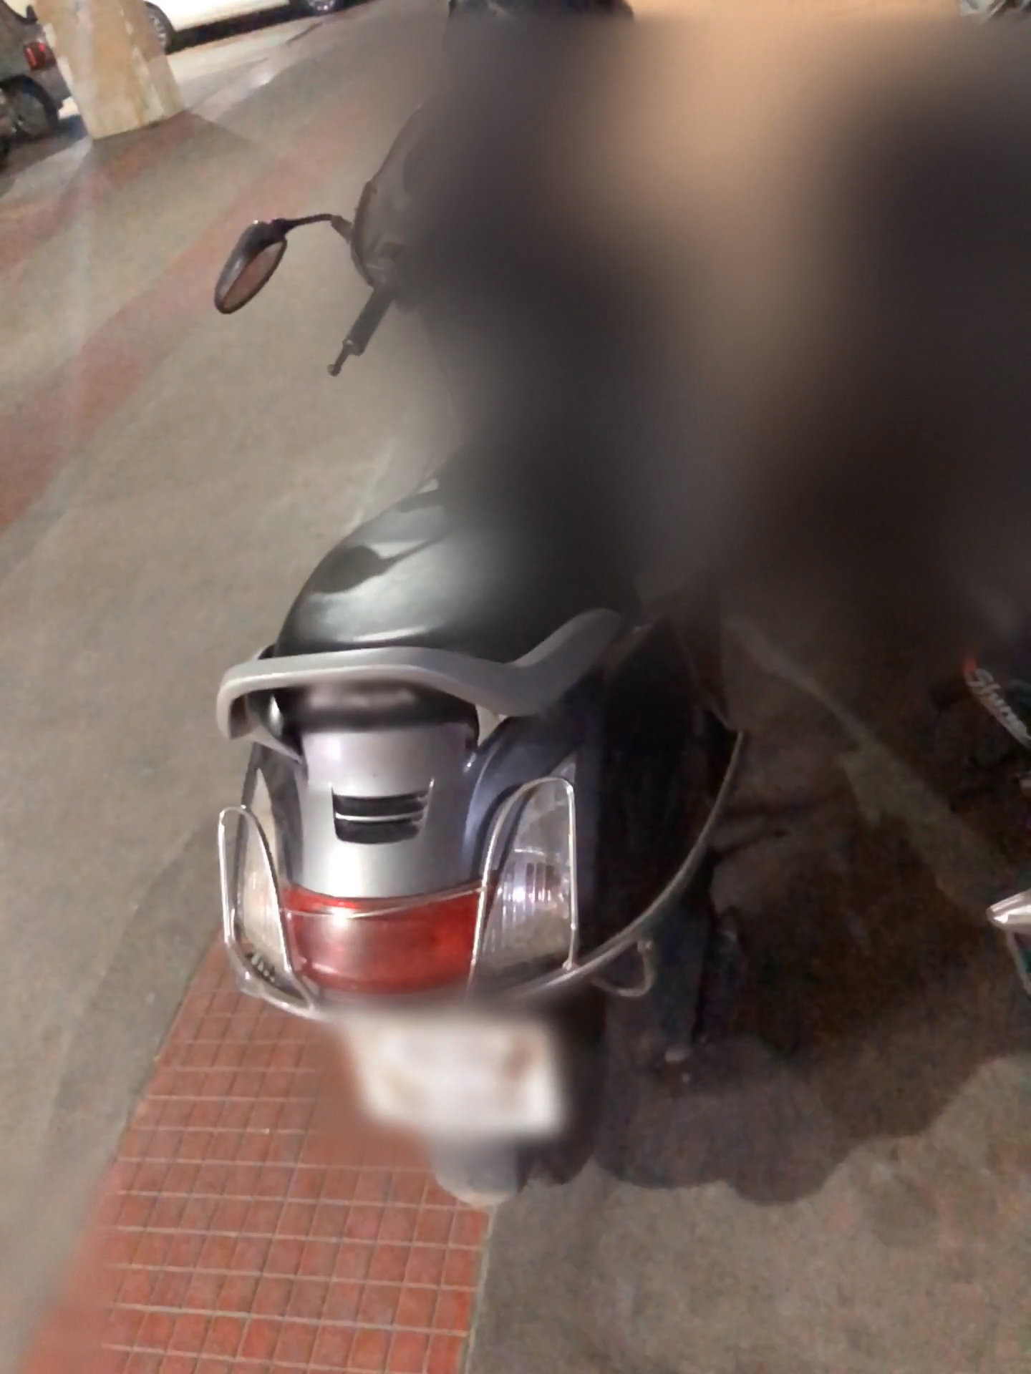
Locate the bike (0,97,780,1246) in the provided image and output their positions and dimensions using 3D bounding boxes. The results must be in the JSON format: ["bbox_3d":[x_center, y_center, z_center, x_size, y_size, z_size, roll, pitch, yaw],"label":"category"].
[{"bbox_3d":[-0.066,-0.163,1.669,0.595,0.988,1.501,-9,35,12],"label":"bike"}]
